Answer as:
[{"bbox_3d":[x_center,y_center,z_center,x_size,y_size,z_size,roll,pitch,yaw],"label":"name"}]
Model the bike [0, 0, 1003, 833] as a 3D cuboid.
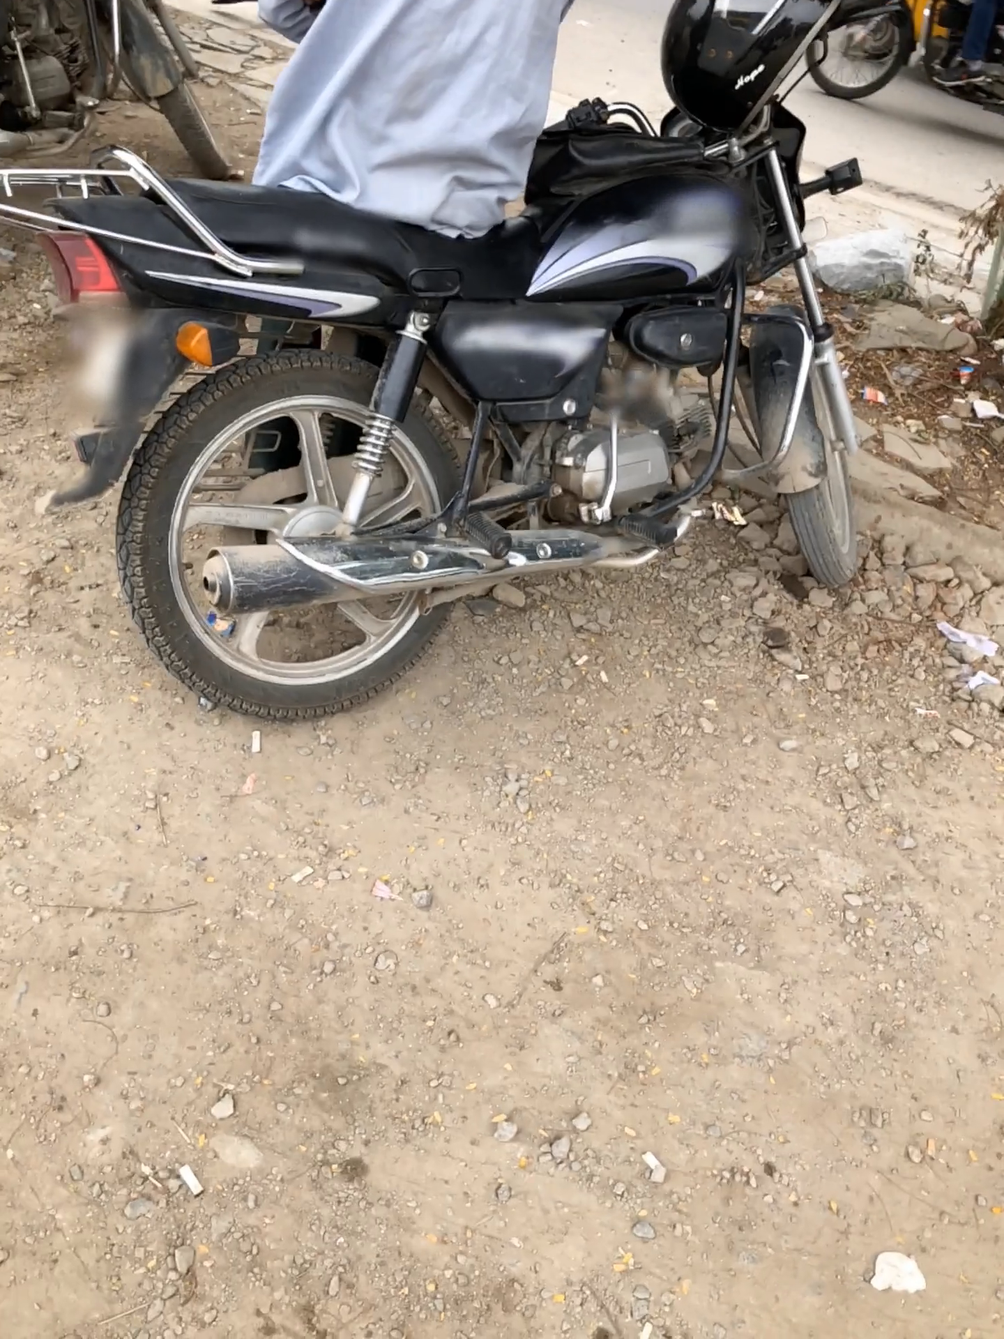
[{"bbox_3d":[0.026,-0.659,1.946,1.602,1.170,0.740,-21,51,-34],"label":"bike"}]
